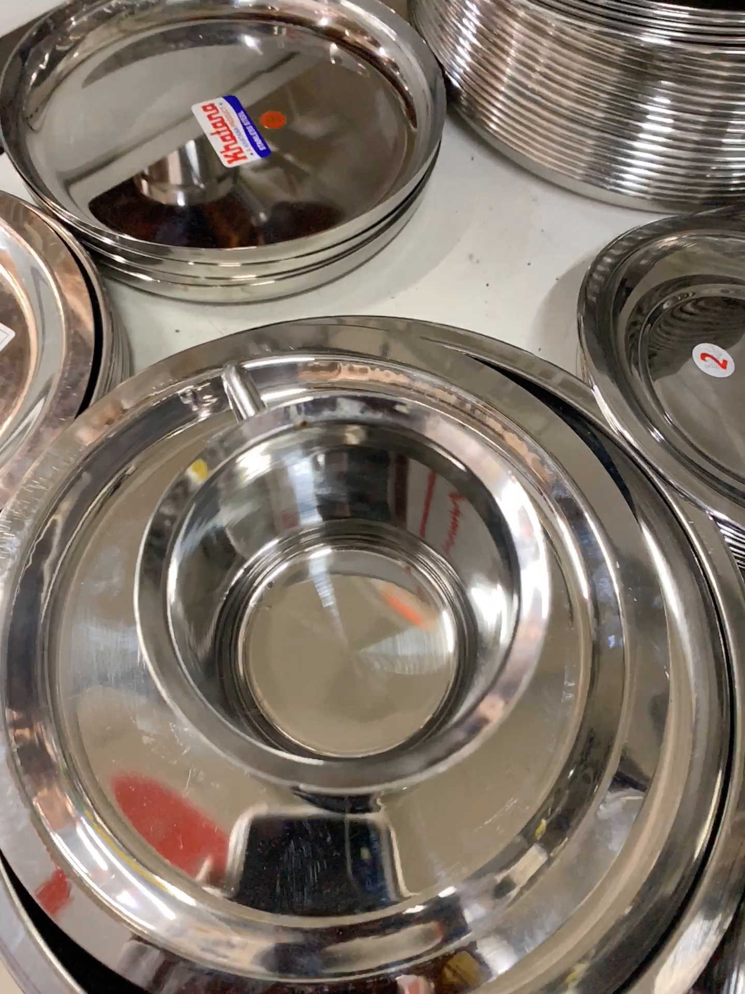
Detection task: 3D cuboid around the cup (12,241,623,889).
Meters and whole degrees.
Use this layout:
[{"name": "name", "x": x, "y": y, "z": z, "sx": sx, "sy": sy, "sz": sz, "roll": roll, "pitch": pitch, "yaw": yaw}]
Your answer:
[{"name": "cup", "x": -0.016, "y": 0.020, "z": 0.192, "sx": 0.080, "sy": 0.090, "sz": 0.110, "roll": -25, "pitch": 68, "yaw": -12}]
